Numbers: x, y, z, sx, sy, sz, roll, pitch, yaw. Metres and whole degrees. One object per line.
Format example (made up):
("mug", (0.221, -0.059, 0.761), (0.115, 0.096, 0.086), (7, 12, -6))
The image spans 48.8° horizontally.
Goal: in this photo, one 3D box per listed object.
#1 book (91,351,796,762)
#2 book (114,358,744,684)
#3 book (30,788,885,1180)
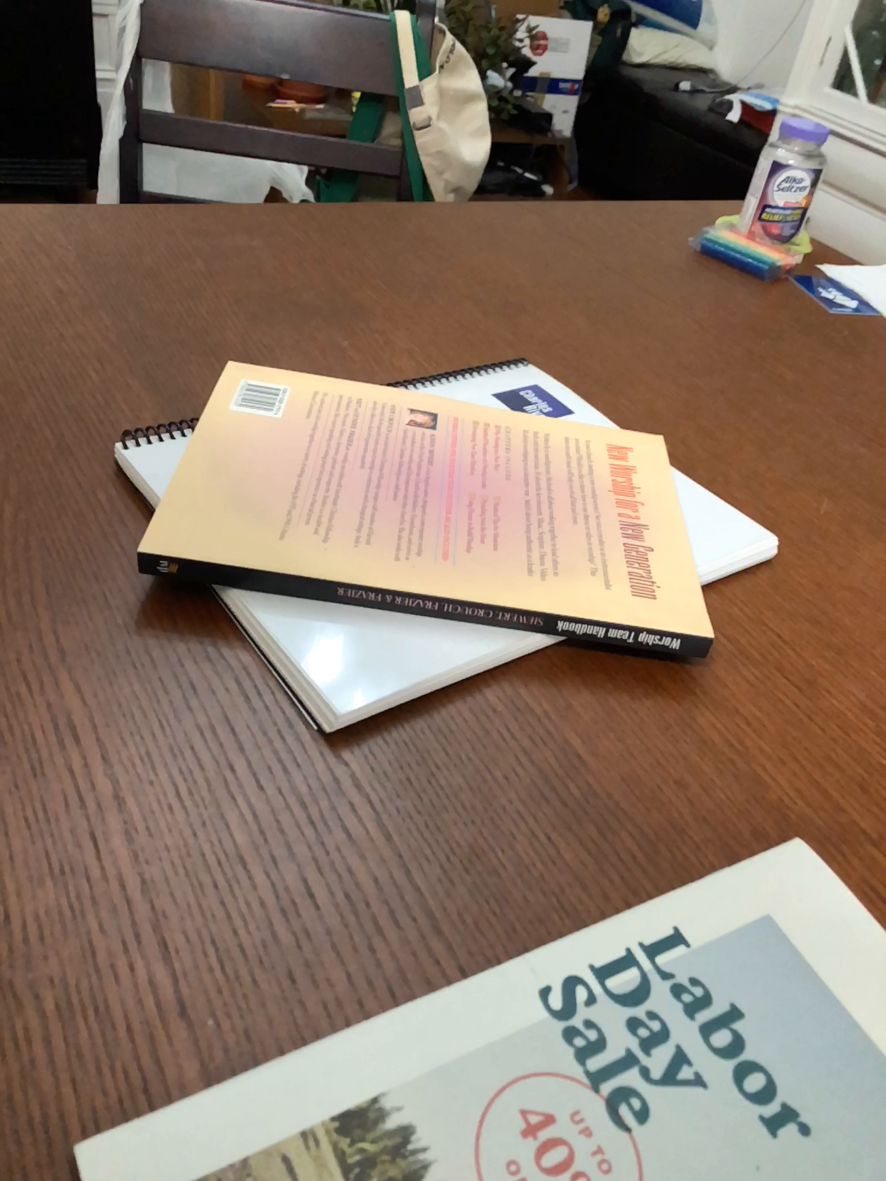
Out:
("book", (0.003, -0.047, 0.512), (0.291, 0.020, 0.231), (-19, 46, -33))
("book", (0.000, -0.045, 0.480), (0.260, 0.020, 0.191), (8, 38, -3))
("book", (0.060, 0.164, 0.243), (0.271, 0.010, 0.201), (-12, 43, -27))
